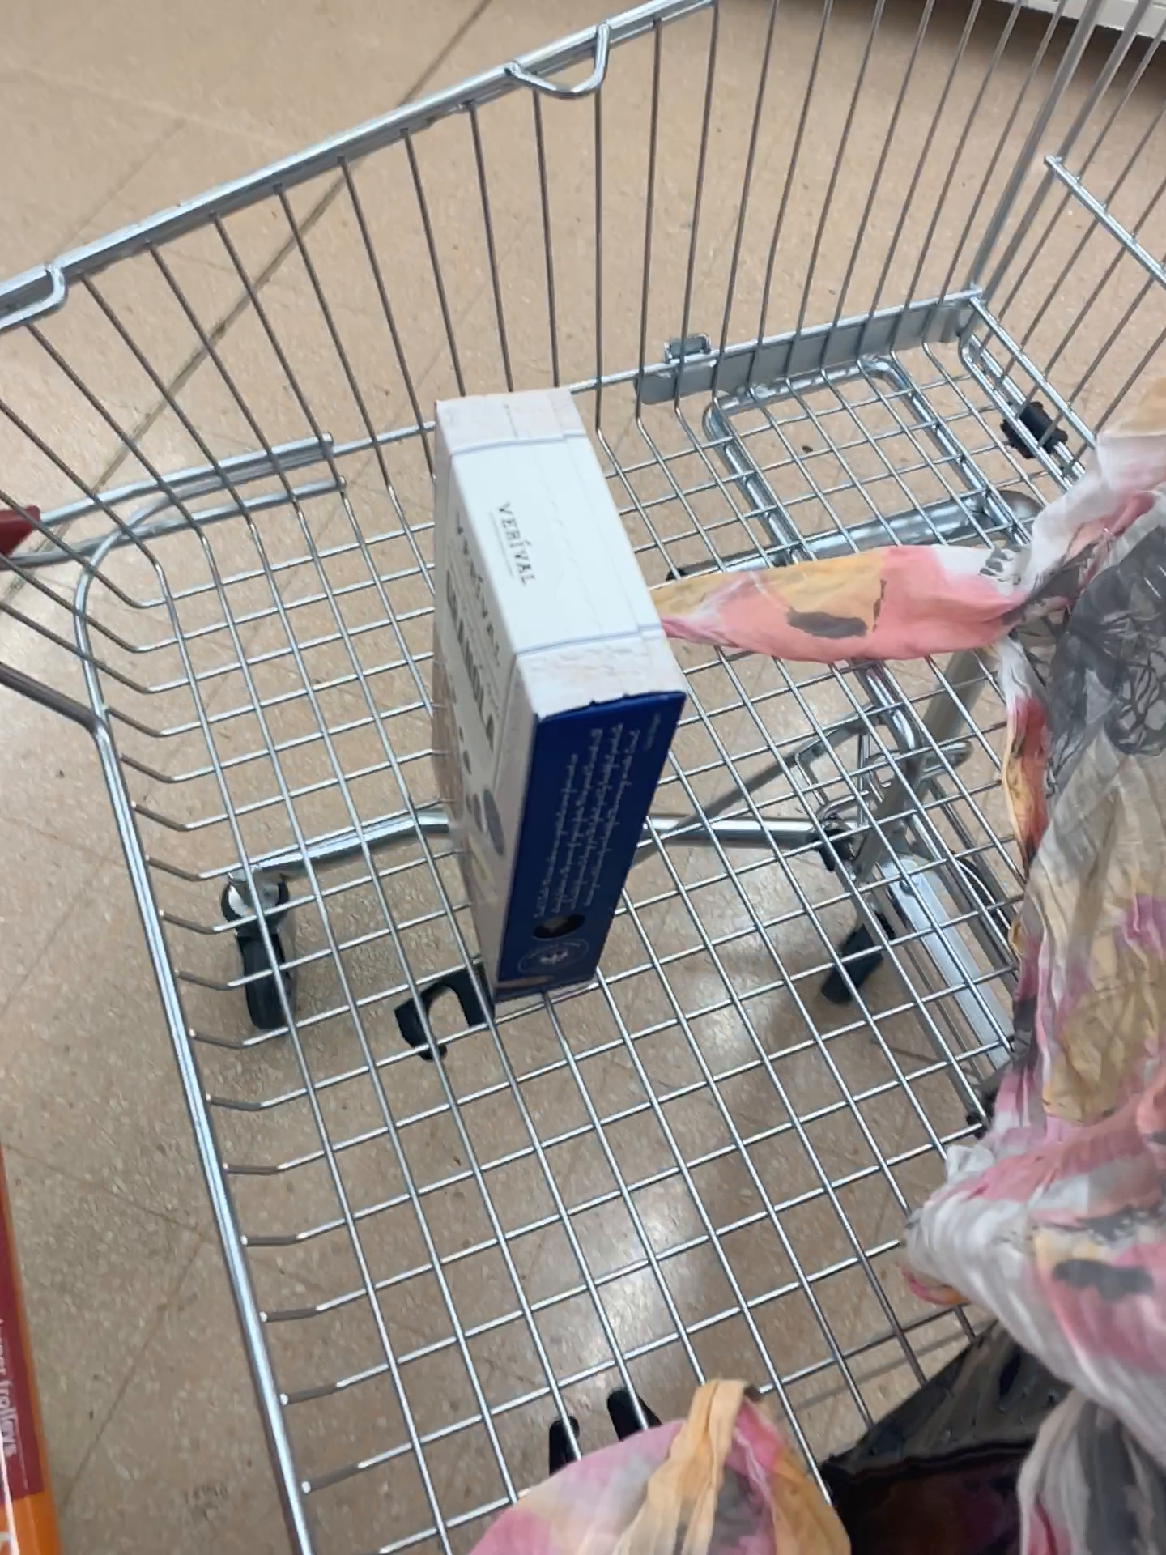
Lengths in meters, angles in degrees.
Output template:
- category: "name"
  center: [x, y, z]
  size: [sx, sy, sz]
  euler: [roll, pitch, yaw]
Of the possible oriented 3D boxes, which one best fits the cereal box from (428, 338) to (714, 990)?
- category: "cereal box"
  center: [-0.020, -0.028, 0.462]
  size: [0.050, 0.228, 0.141]
  euler: [-11, 62, -14]
